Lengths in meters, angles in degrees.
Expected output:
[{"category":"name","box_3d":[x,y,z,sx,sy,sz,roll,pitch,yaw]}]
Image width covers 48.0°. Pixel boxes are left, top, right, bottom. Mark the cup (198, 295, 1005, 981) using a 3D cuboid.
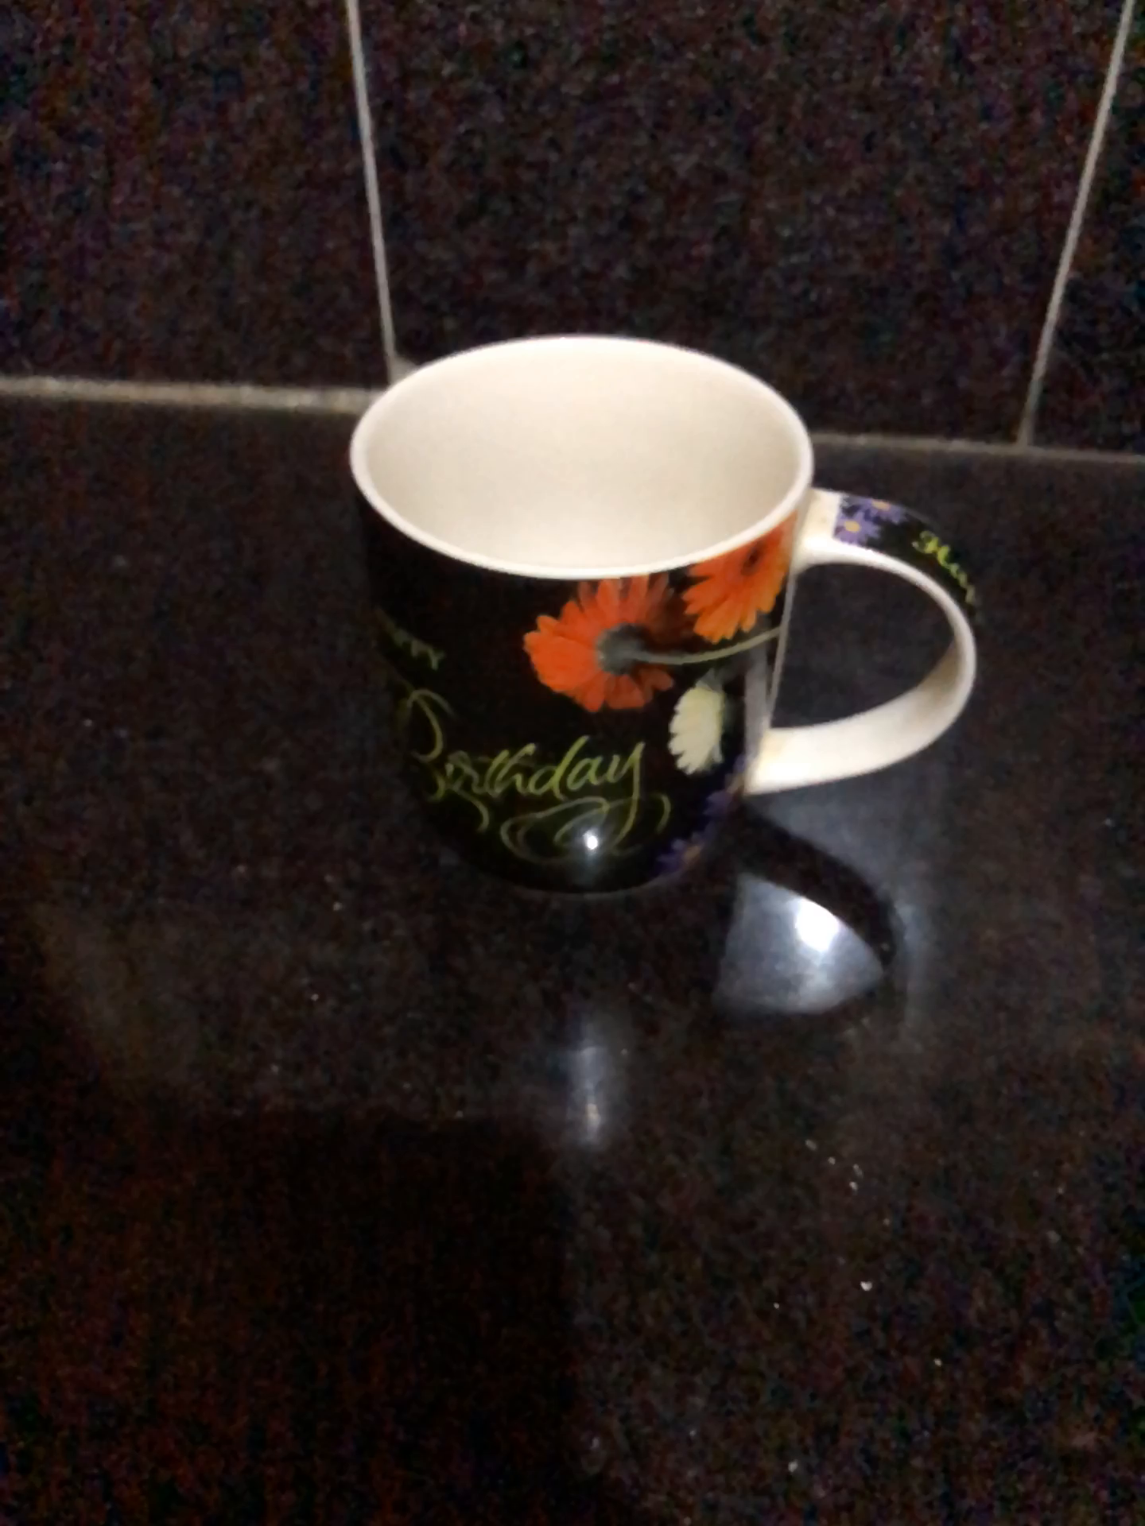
[{"category":"cup","box_3d":[0.011,-0.029,0.266,0.130,0.089,0.091,8,44,8]}]
